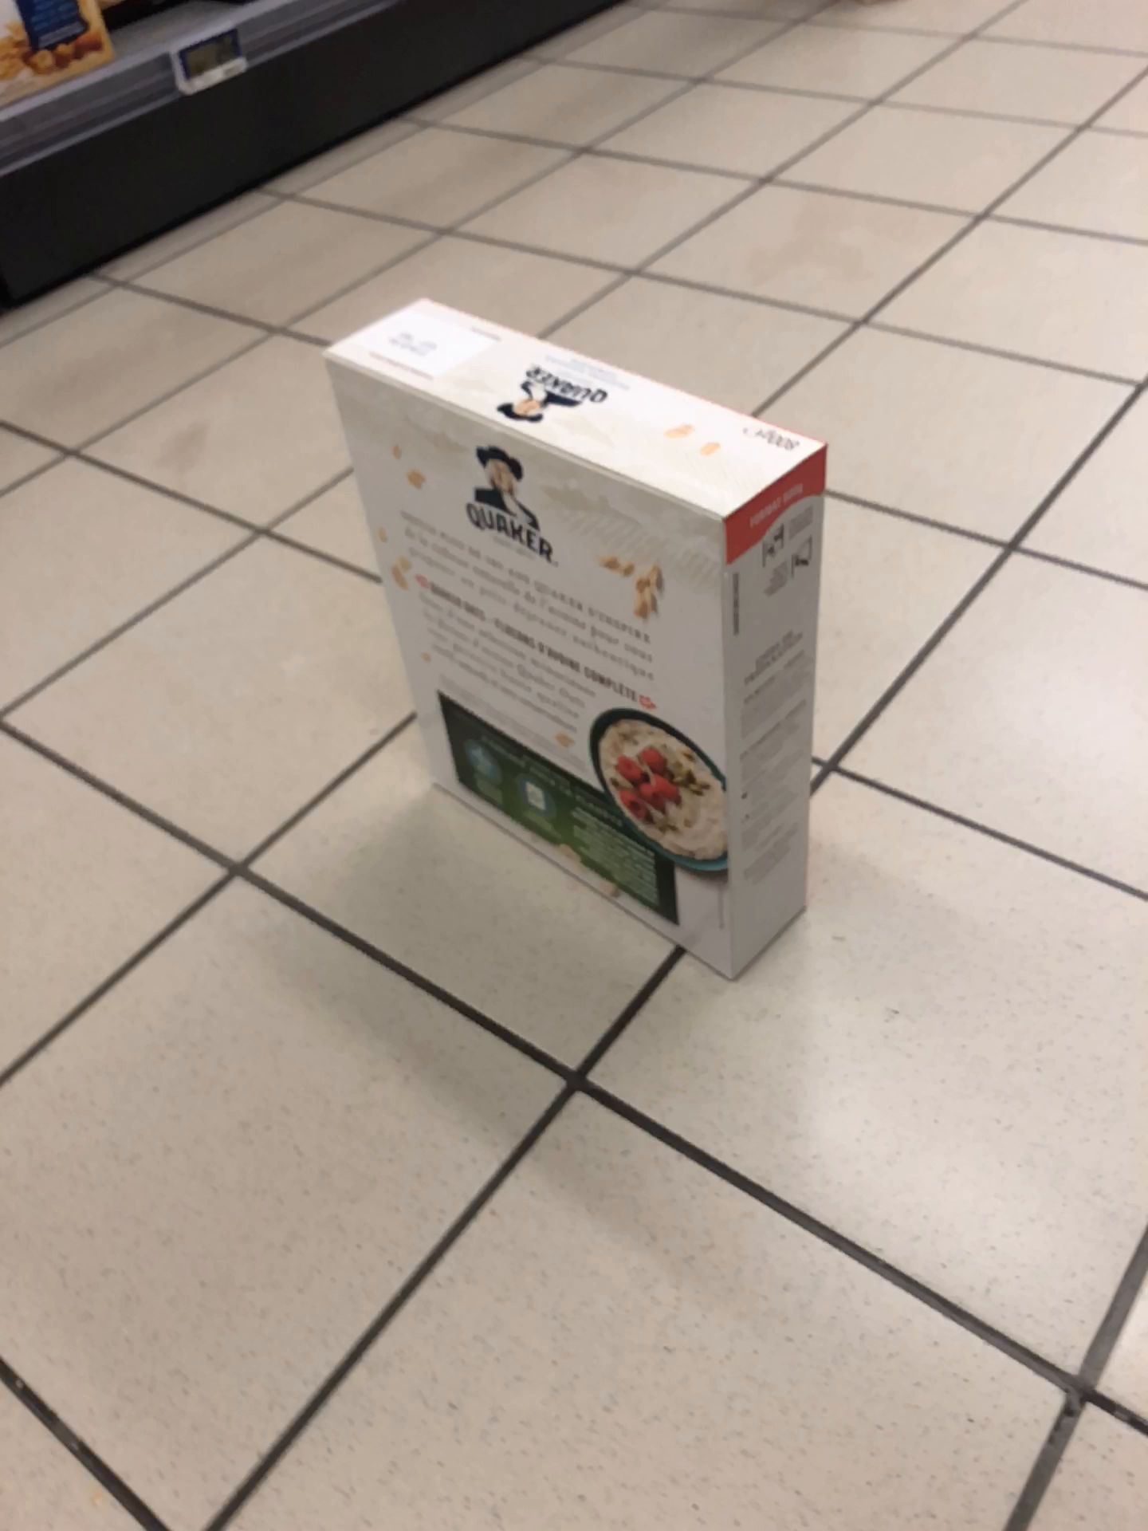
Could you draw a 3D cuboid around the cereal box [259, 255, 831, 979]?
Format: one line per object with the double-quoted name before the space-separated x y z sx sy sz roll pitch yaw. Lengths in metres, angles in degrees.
"cereal box" -0.008 -0.058 0.506 0.210 0.229 0.060 29 54 33
